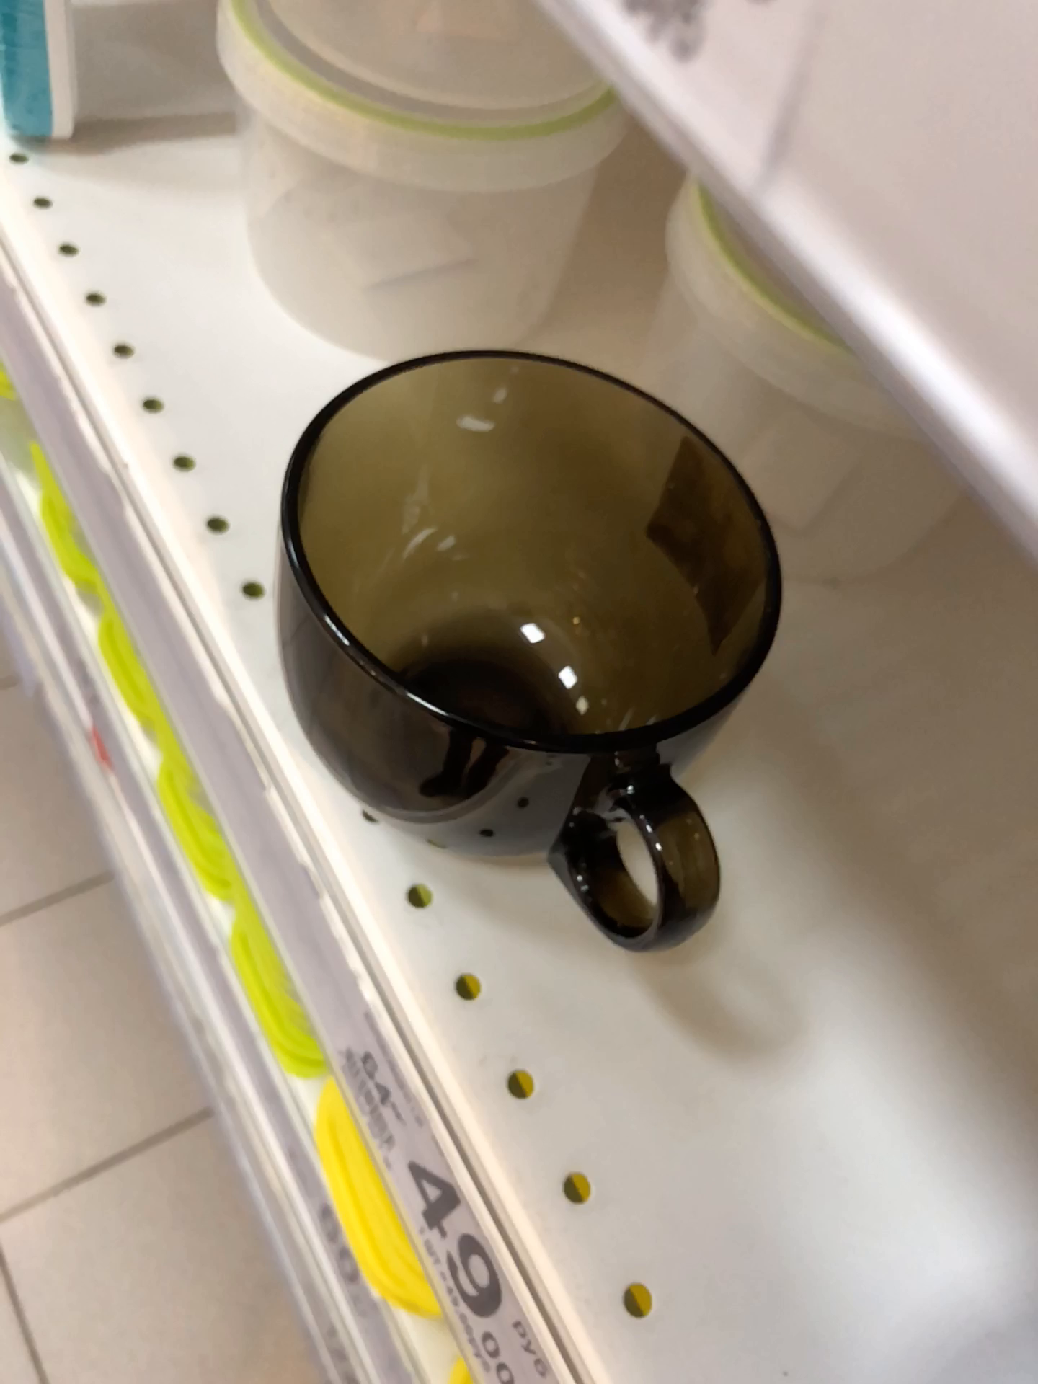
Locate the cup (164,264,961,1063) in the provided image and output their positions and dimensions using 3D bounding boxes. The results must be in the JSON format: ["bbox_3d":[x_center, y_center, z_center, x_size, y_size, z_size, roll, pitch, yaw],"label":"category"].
[{"bbox_3d":[0.001,-0.013,0.261,0.105,0.071,0.135,-23,65,-24],"label":"cup"}]
